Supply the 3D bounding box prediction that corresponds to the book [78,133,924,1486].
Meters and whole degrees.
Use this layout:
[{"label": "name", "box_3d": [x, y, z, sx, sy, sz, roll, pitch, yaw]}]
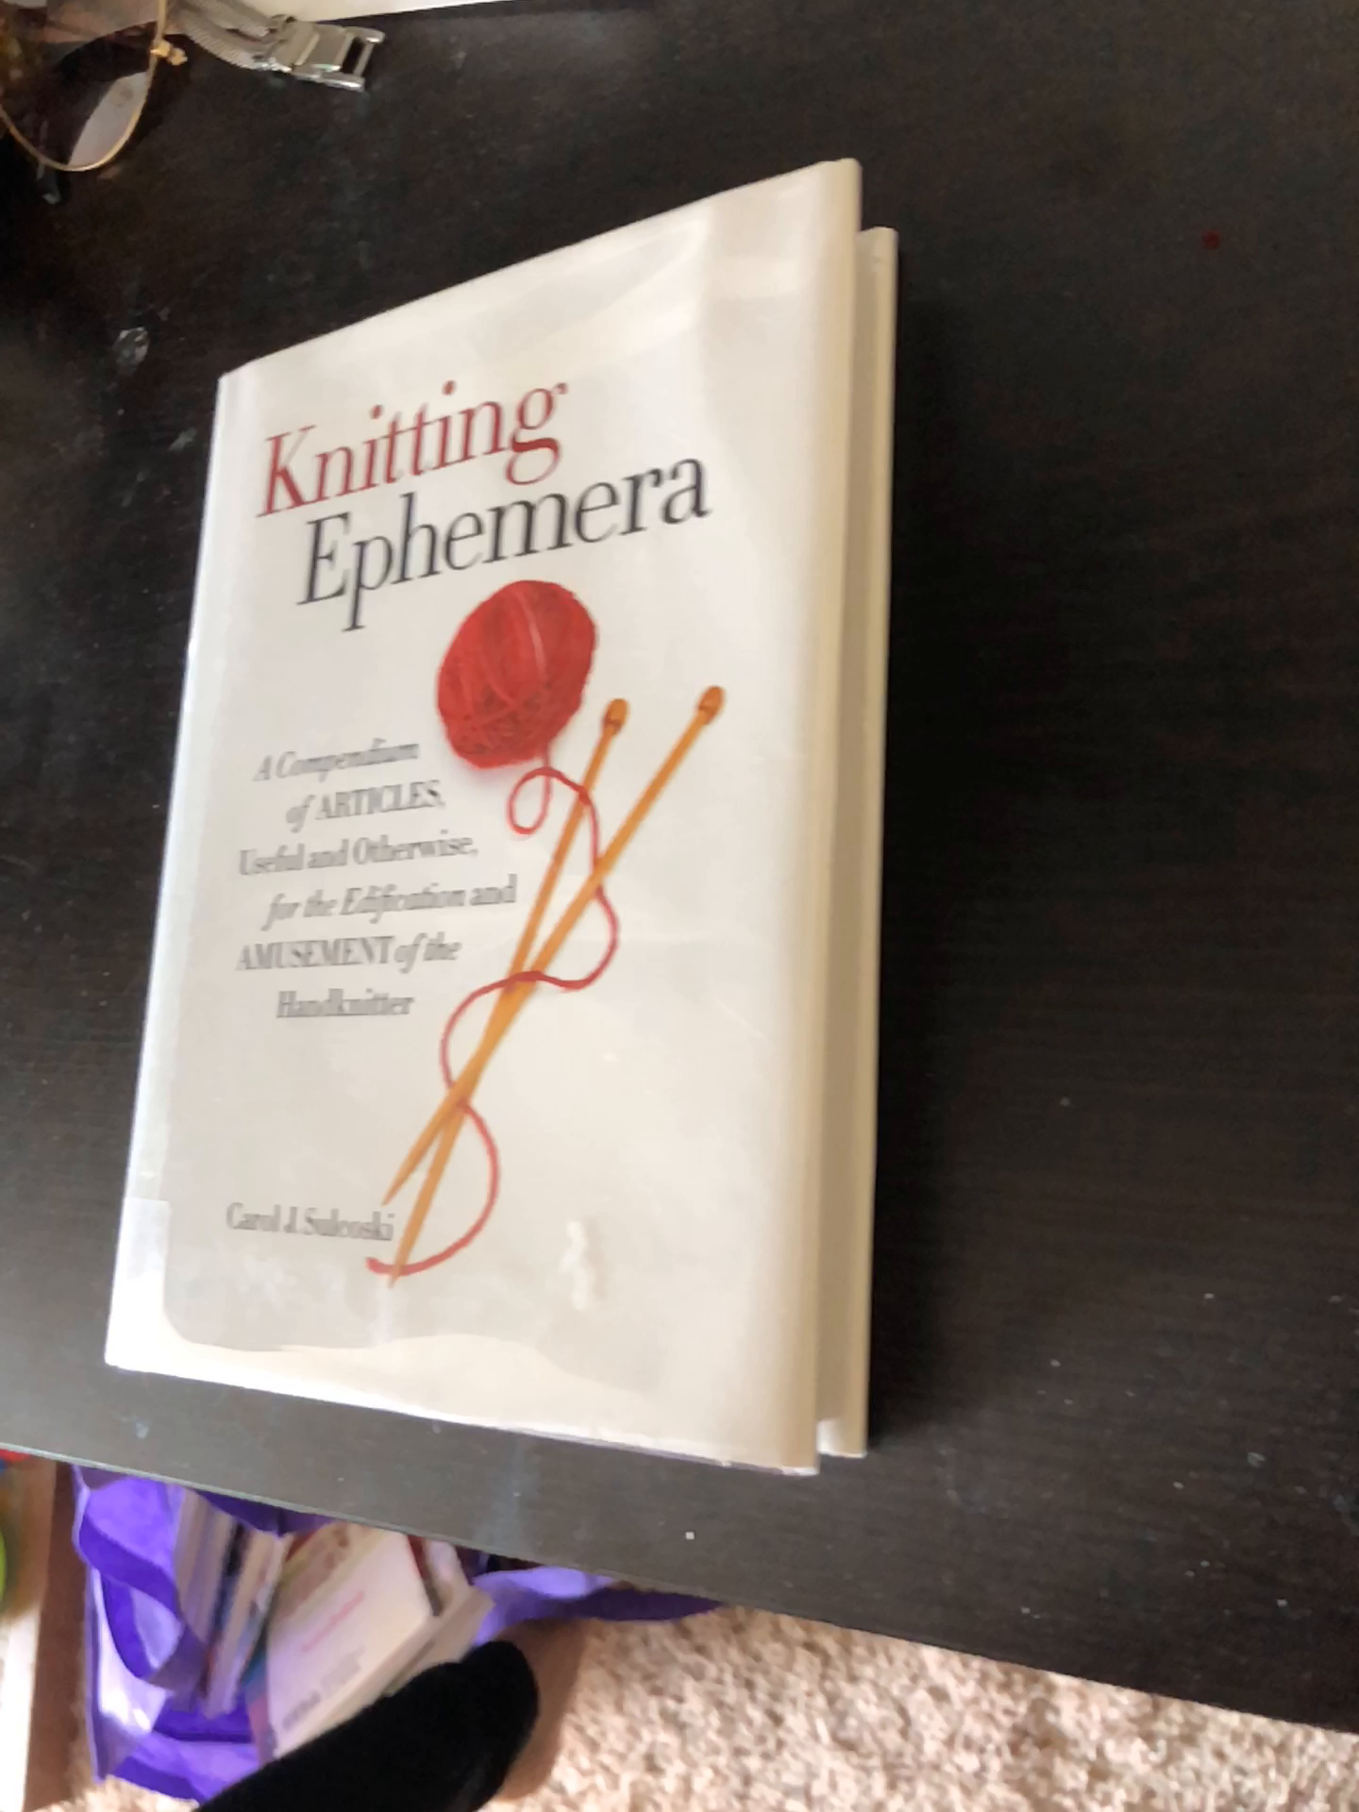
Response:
[{"label": "book", "box_3d": [-0.030, -0.013, 0.241, 0.133, 0.029, 0.178, -4, 78, 32]}]
